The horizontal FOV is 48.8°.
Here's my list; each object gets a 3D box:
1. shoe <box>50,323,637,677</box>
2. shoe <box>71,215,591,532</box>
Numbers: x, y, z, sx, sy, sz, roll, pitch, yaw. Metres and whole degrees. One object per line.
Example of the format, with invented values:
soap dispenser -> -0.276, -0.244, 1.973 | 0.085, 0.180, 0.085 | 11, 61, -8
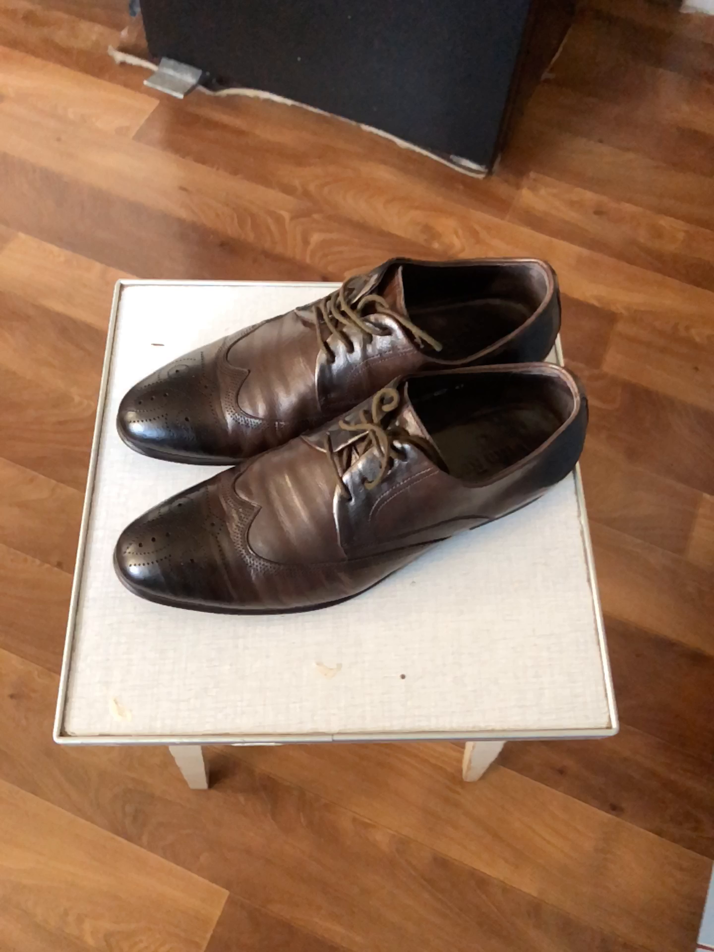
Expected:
shoe -> -0.007, 0.014, 0.456 | 0.290, 0.100, 0.100 | -15, 67, -10
shoe -> -0.016, -0.066, 0.509 | 0.290, 0.100, 0.100 | -15, 67, -10
